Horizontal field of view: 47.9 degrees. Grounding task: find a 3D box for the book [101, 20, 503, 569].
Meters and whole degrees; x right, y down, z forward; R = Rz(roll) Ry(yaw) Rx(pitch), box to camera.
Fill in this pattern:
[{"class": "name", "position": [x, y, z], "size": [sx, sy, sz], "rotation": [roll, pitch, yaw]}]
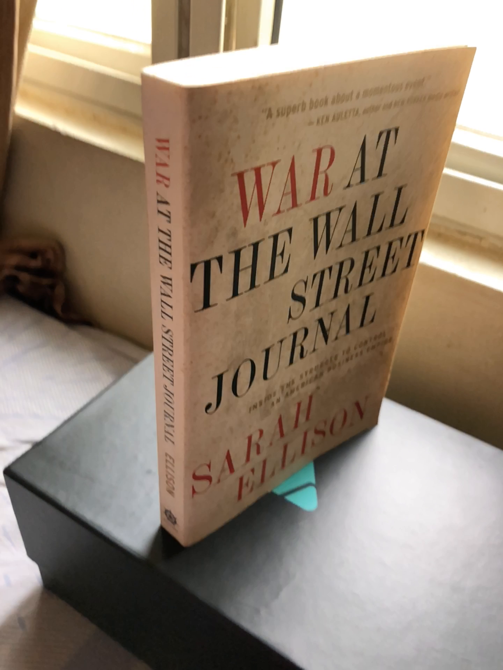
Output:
[{"class": "book", "position": [0.020, -0.014, 0.234], "size": [0.150, 0.199, 0.030], "rotation": [-24, 46, -35]}]
